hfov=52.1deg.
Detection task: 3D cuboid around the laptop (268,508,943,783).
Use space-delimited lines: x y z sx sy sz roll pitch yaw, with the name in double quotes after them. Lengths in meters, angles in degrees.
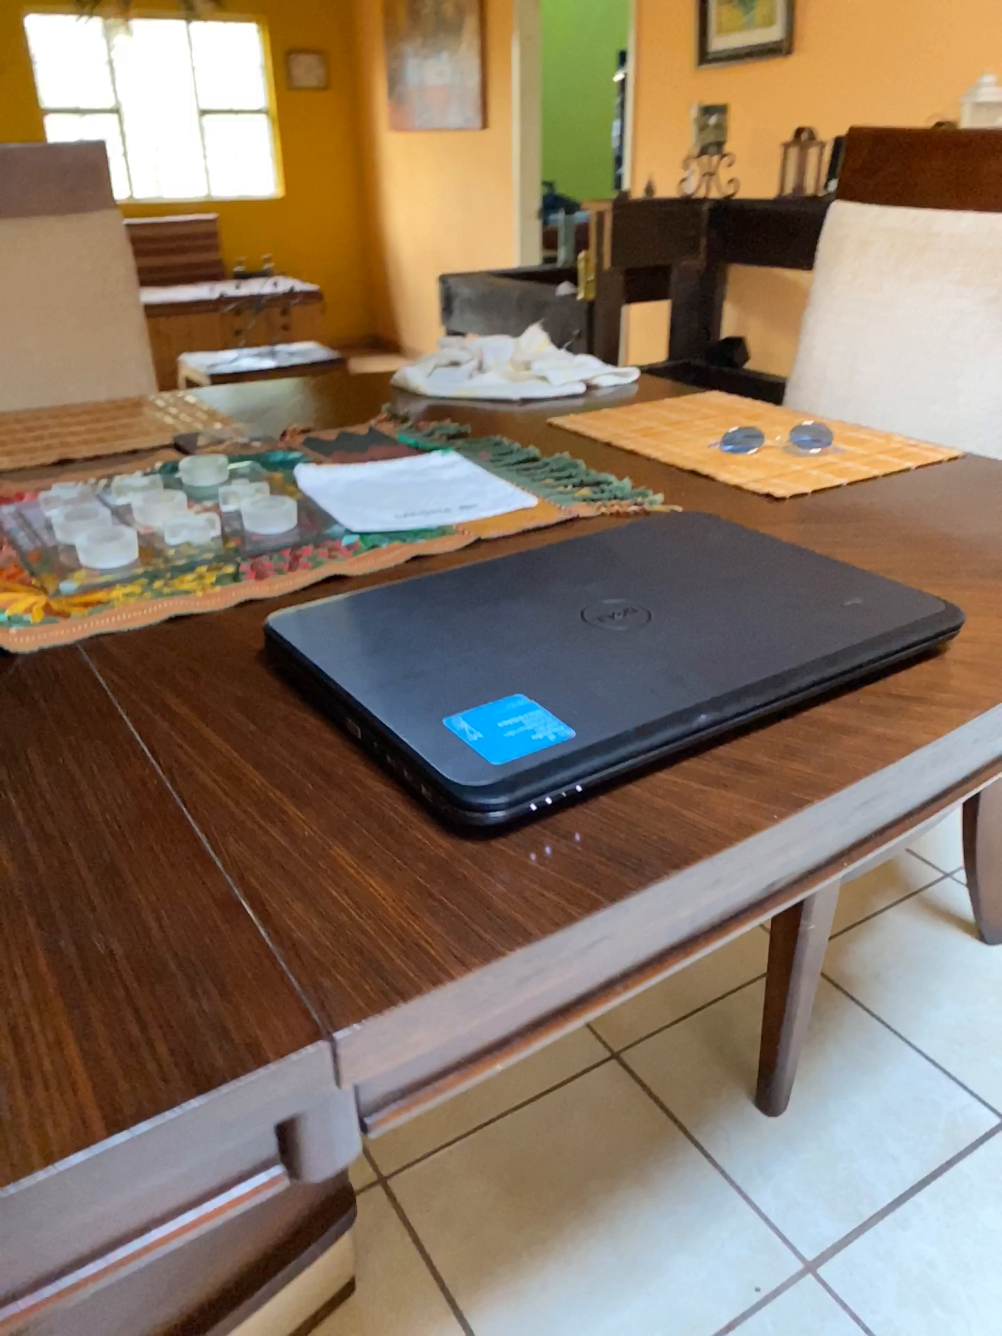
0.066 -0.039 0.650 0.353 0.001 0.248 -18 31 -31 "laptop"
